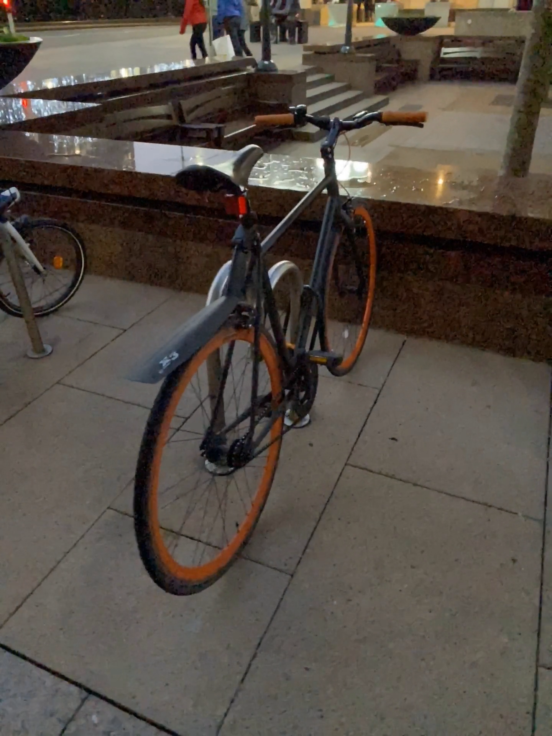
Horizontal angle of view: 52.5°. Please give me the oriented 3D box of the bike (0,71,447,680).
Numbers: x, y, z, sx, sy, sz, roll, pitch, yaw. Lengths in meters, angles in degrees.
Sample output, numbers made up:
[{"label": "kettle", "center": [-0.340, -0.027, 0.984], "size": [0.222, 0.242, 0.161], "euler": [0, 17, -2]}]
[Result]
[{"label": "bike", "center": [0.031, -0.224, 1.684], "size": [0.524, 0.981, 1.647], "euler": [13, 36, 21]}]
